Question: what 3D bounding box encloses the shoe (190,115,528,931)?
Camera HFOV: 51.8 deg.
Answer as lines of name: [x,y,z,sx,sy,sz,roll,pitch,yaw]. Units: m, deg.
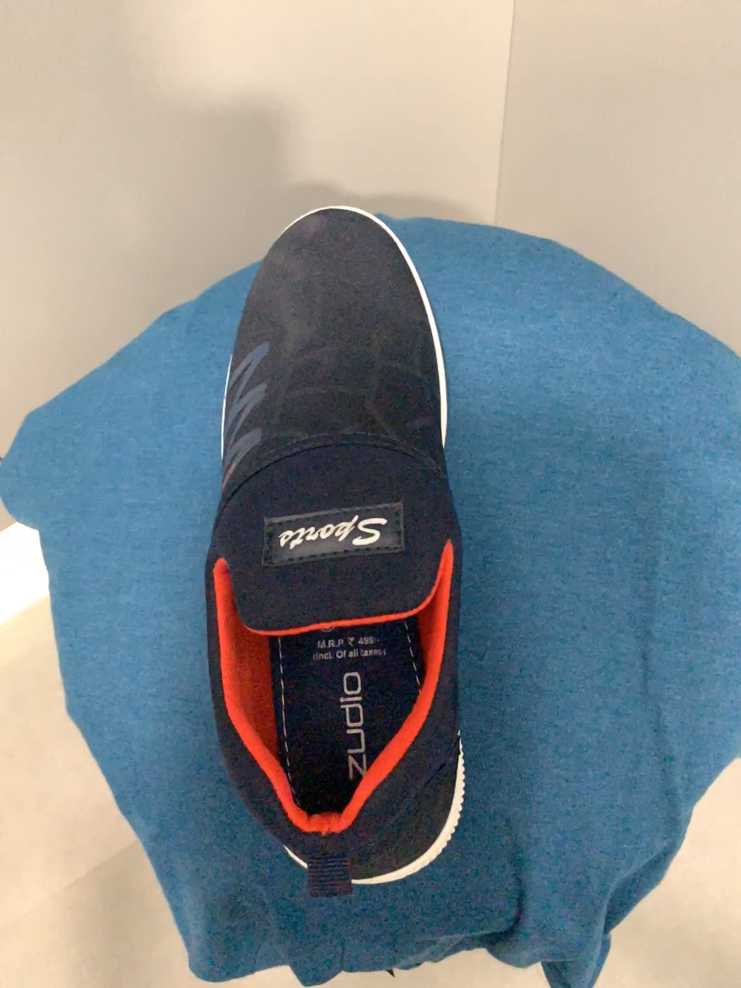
shoe: [-0.007,0.006,0.293,0.090,0.100,0.260,-6,75,4]
